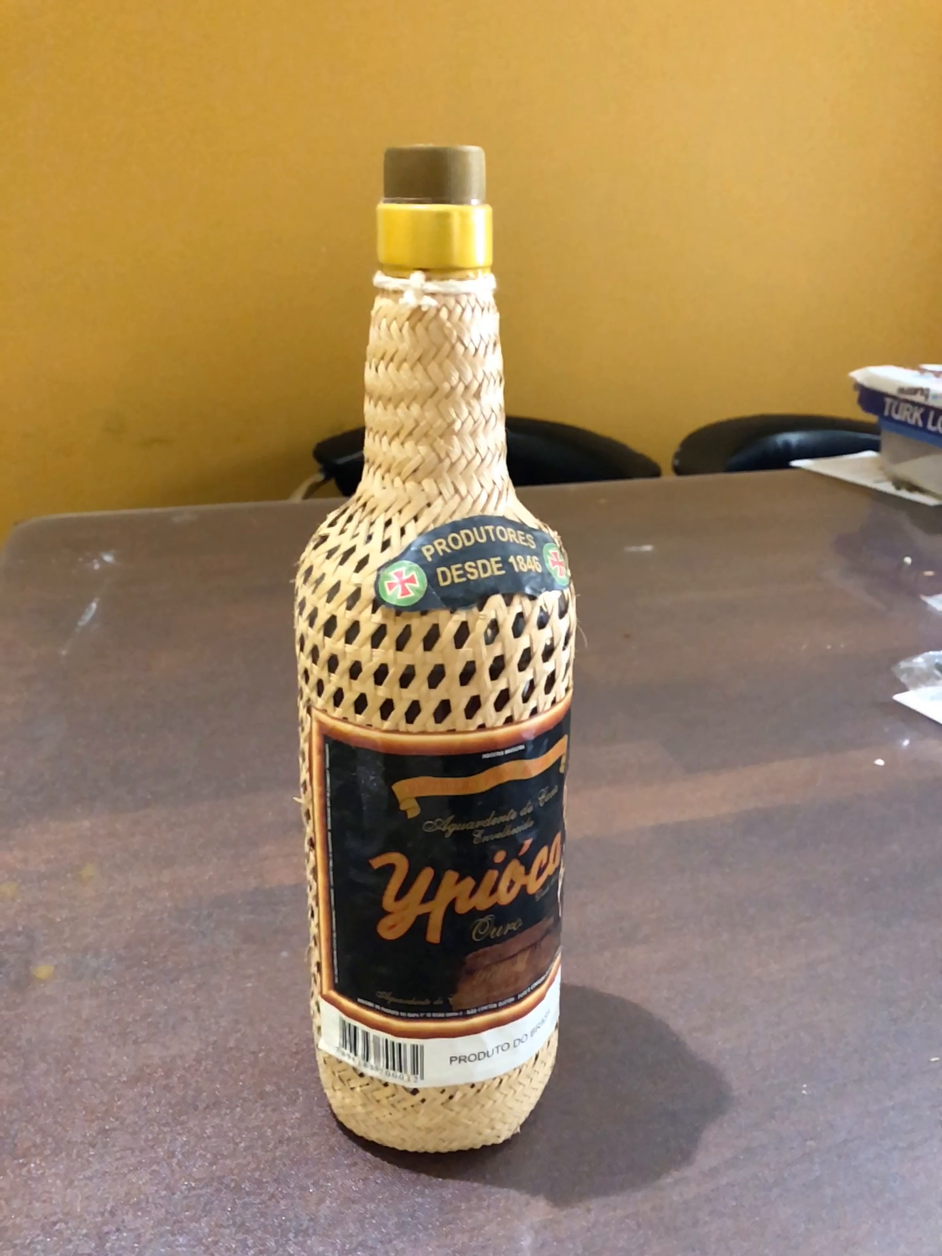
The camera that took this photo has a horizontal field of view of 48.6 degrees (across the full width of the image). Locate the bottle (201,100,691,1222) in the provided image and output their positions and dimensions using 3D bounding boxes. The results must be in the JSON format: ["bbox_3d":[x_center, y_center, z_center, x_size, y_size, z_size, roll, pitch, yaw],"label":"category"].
[{"bbox_3d":[-0.011,0.016,0.343,0.100,0.328,0.090,-14,25,-34],"label":"bottle"}]
